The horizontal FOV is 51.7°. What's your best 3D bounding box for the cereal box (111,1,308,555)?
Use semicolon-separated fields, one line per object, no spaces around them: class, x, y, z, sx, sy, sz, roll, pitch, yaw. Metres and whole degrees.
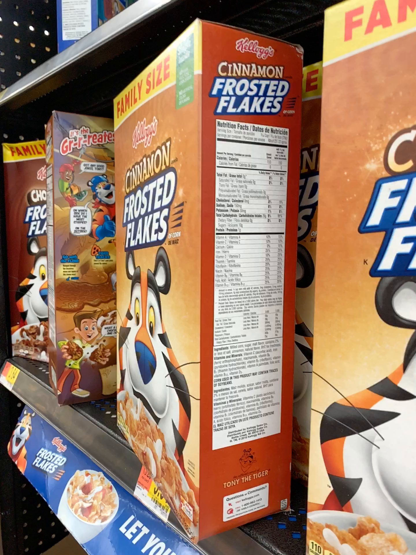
cereal box;-0.016;0.006;0.359;0.080;0.340;0.200;-2;5;-26
